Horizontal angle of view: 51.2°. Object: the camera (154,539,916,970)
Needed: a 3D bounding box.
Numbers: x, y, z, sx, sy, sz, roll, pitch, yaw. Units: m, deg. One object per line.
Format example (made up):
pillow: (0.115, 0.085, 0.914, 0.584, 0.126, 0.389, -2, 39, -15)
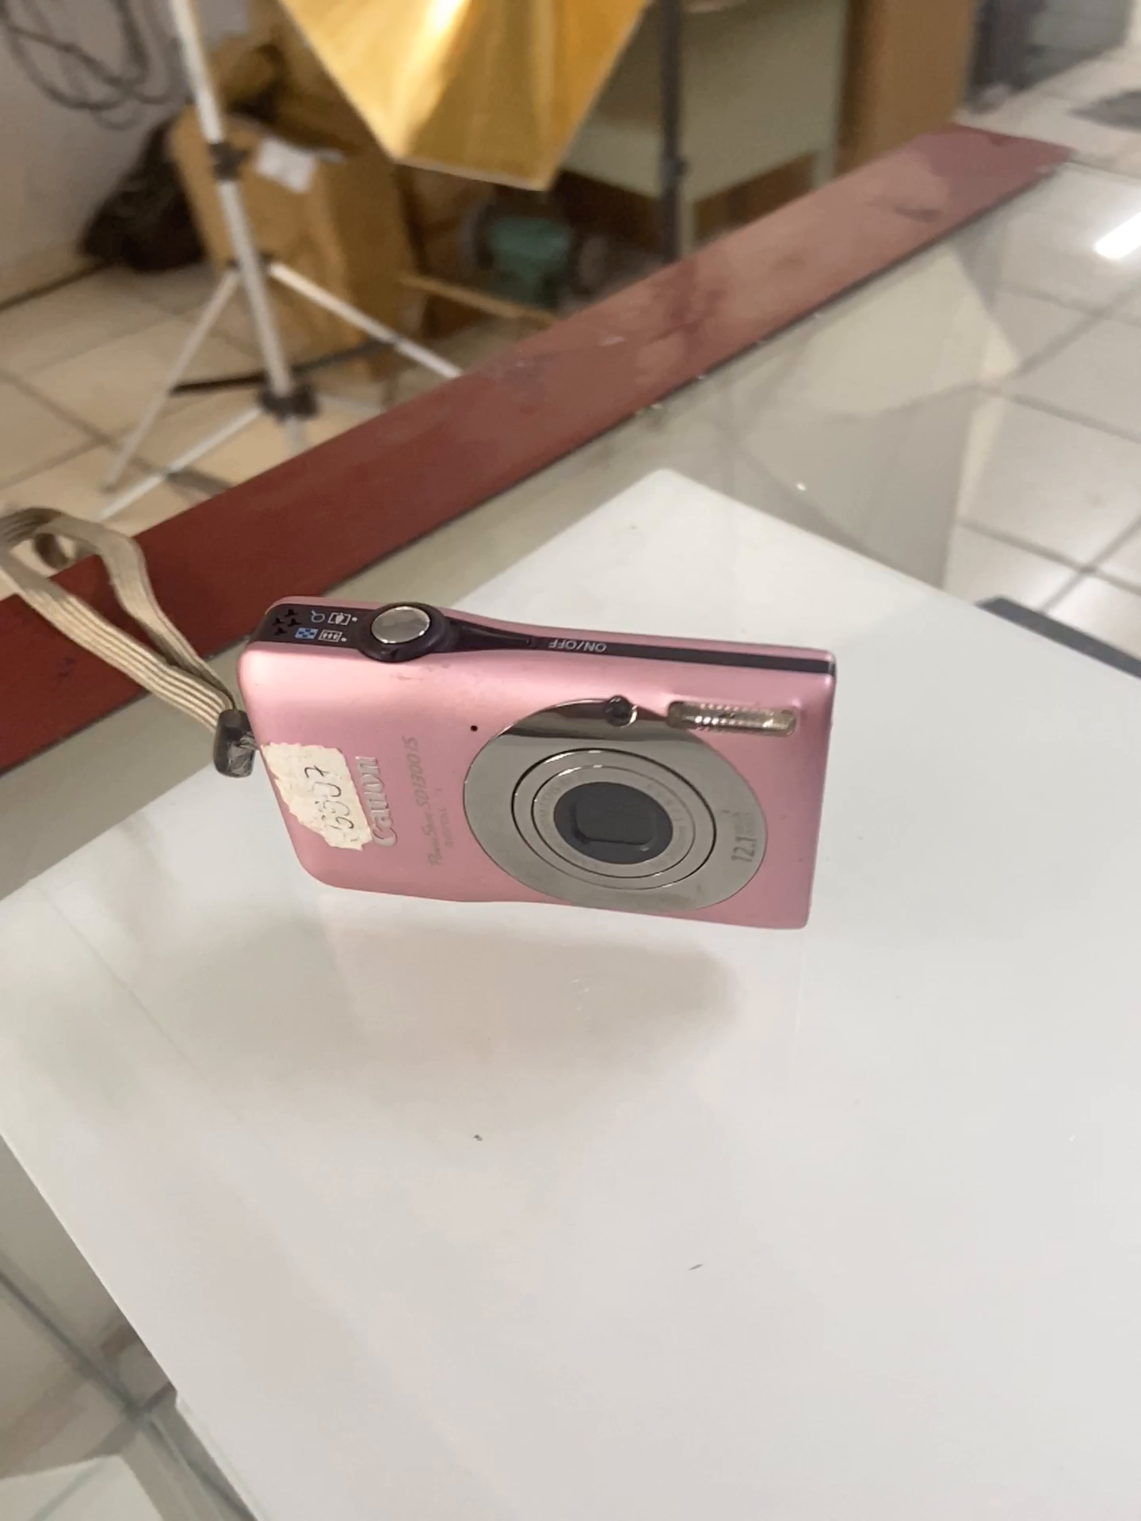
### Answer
camera: (-0.004, -0.001, 0.181, 0.100, 0.050, 0.030, 5, 45, 8)
